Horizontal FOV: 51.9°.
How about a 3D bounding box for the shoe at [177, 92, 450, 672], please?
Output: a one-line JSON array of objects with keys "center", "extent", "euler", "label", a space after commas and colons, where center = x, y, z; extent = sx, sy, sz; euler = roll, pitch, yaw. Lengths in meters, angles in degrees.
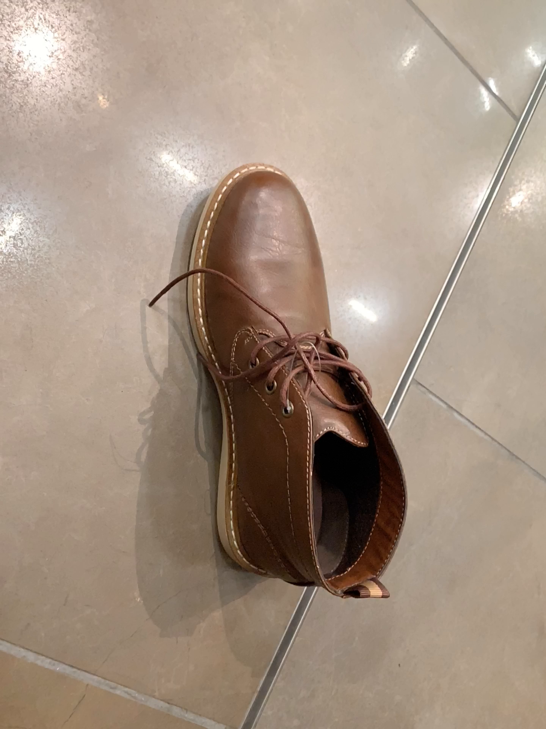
[{"center": [0.018, 0.007, 0.362], "extent": [0.107, 0.120, 0.294], "euler": [-4, 89, -26], "label": "shoe"}]
